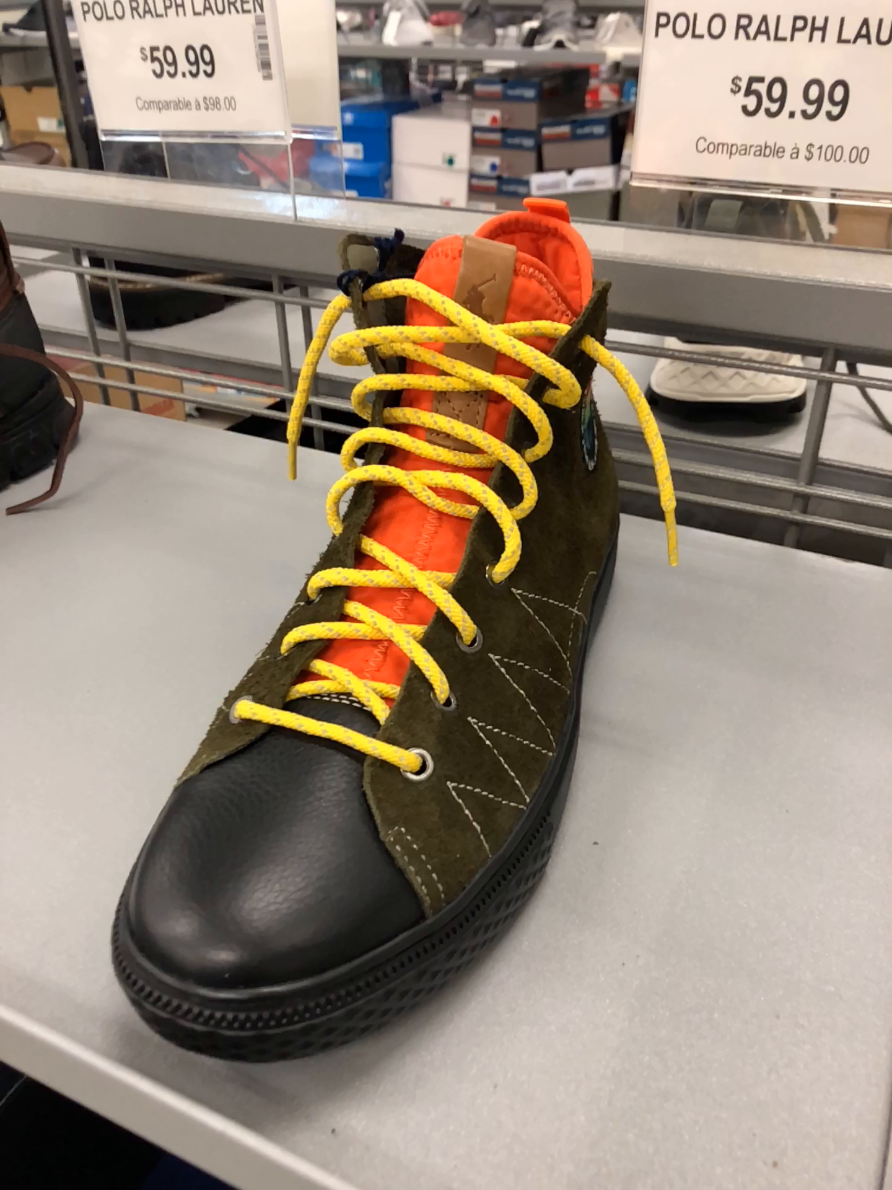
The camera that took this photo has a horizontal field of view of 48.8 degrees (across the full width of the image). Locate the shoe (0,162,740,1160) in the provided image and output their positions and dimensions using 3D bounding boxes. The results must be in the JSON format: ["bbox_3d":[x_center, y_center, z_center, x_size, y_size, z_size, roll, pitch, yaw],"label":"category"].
[{"bbox_3d":[0.000,-0.024,0.328,0.125,0.171,0.300,12,35,18],"label":"shoe"}]
